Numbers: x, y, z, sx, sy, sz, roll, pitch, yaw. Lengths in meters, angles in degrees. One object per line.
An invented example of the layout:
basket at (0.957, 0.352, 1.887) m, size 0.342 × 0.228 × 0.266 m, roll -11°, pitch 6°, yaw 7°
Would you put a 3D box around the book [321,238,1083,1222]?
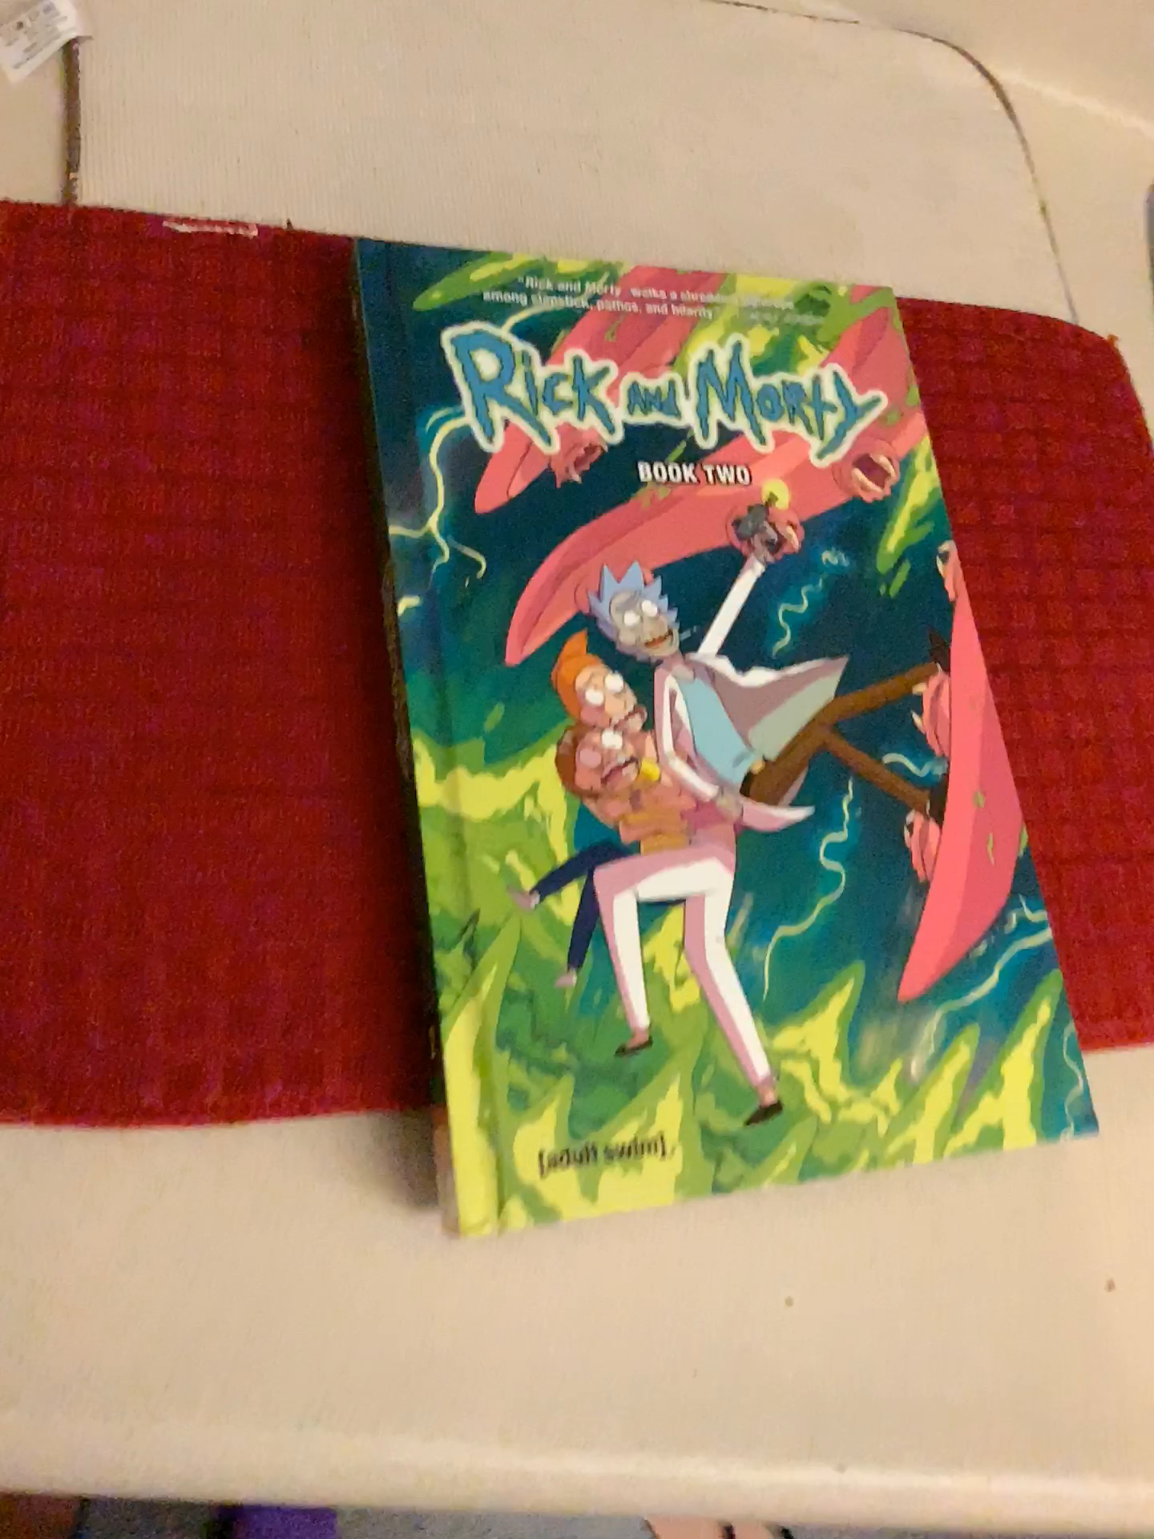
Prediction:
book at (0.033, -0.027, 0.414) m, size 0.200 × 0.030 × 0.300 m, roll -3°, pitch 72°, yaw -19°
